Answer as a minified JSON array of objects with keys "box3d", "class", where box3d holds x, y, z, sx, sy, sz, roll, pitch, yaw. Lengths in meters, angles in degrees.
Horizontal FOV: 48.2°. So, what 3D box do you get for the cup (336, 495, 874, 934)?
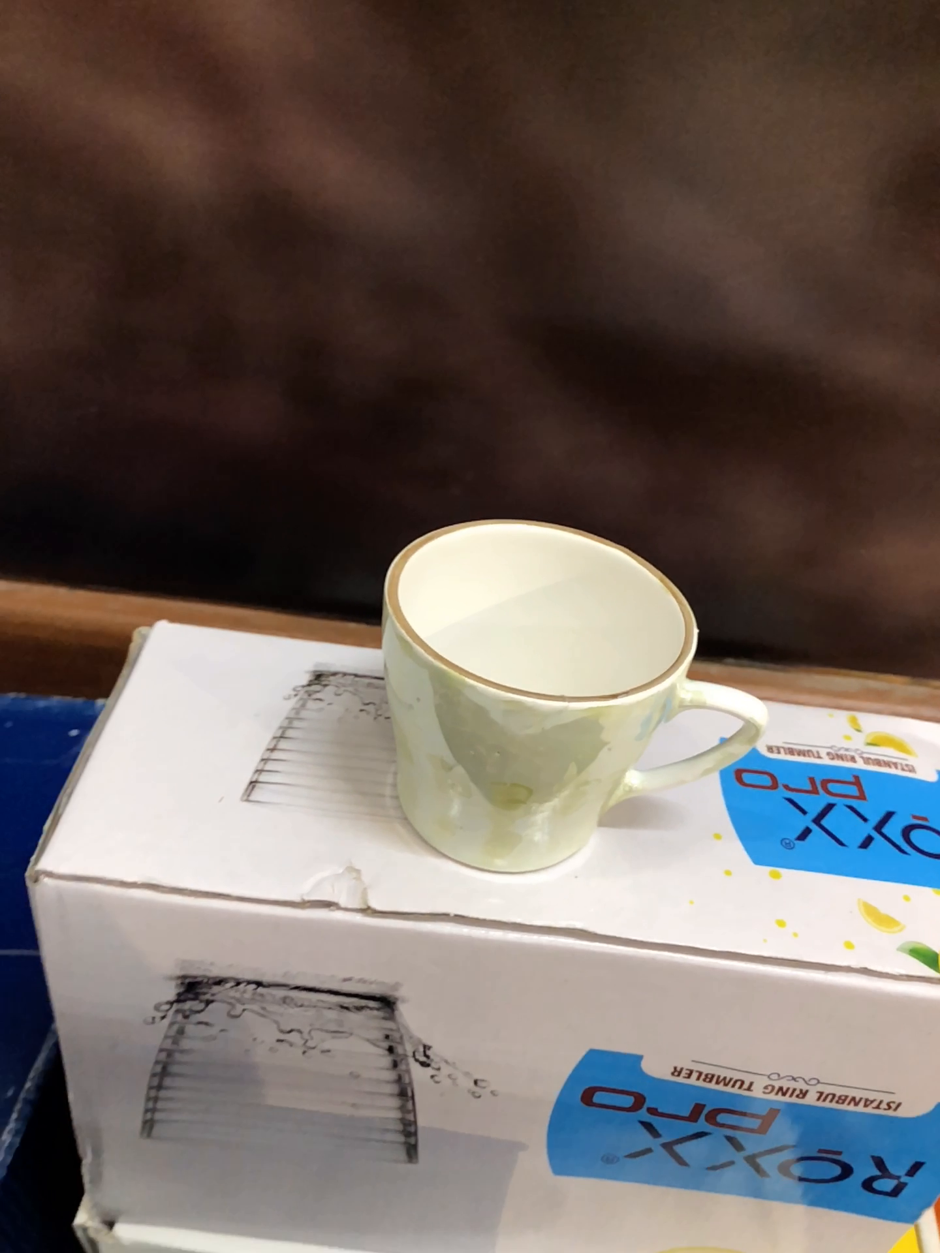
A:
[{"box3d":[0.024,0.019,0.244,0.100,0.060,0.070,6,38,-5],"class":"cup"}]
